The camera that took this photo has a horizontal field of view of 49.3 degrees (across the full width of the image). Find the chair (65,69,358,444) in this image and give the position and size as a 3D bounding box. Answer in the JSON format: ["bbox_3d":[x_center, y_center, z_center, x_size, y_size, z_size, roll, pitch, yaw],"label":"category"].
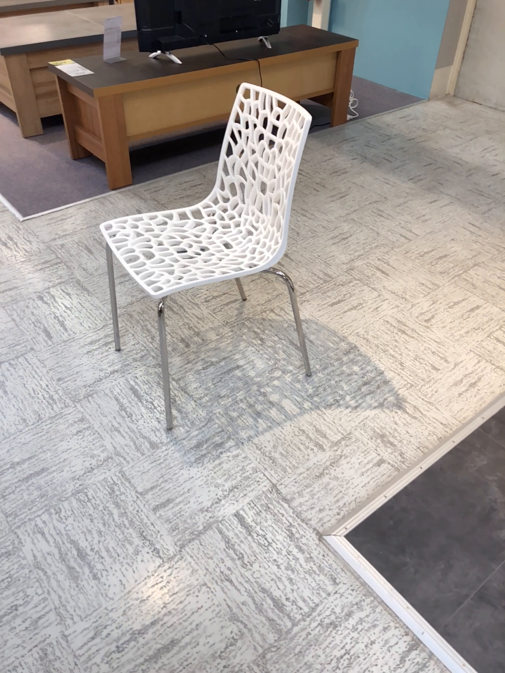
[{"bbox_3d":[-0.113,-0.216,1.491,0.512,0.785,0.451,-20,45,-23],"label":"chair"}]
